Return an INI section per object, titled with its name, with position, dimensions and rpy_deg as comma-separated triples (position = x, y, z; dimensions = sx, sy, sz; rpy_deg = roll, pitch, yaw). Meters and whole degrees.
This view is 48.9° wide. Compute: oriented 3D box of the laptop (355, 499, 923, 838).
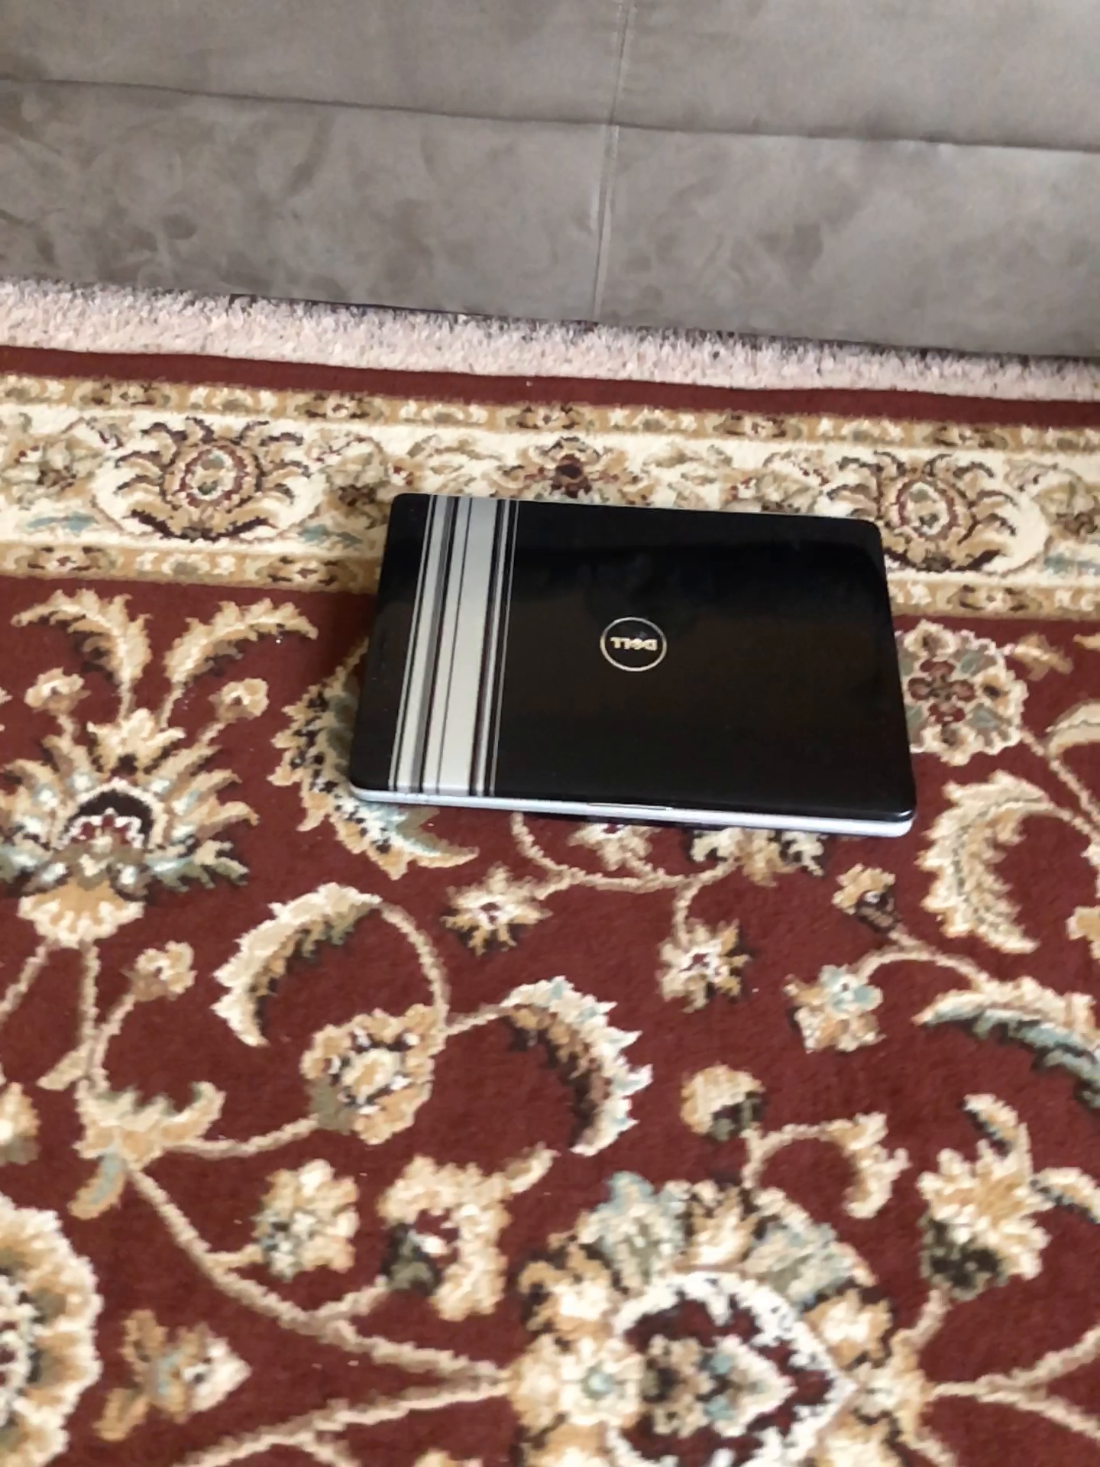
[laptop]
position = 0.061, -0.052, 0.816
dimensions = 0.351, 0.015, 0.242
rpy_deg = 4, 57, 0
